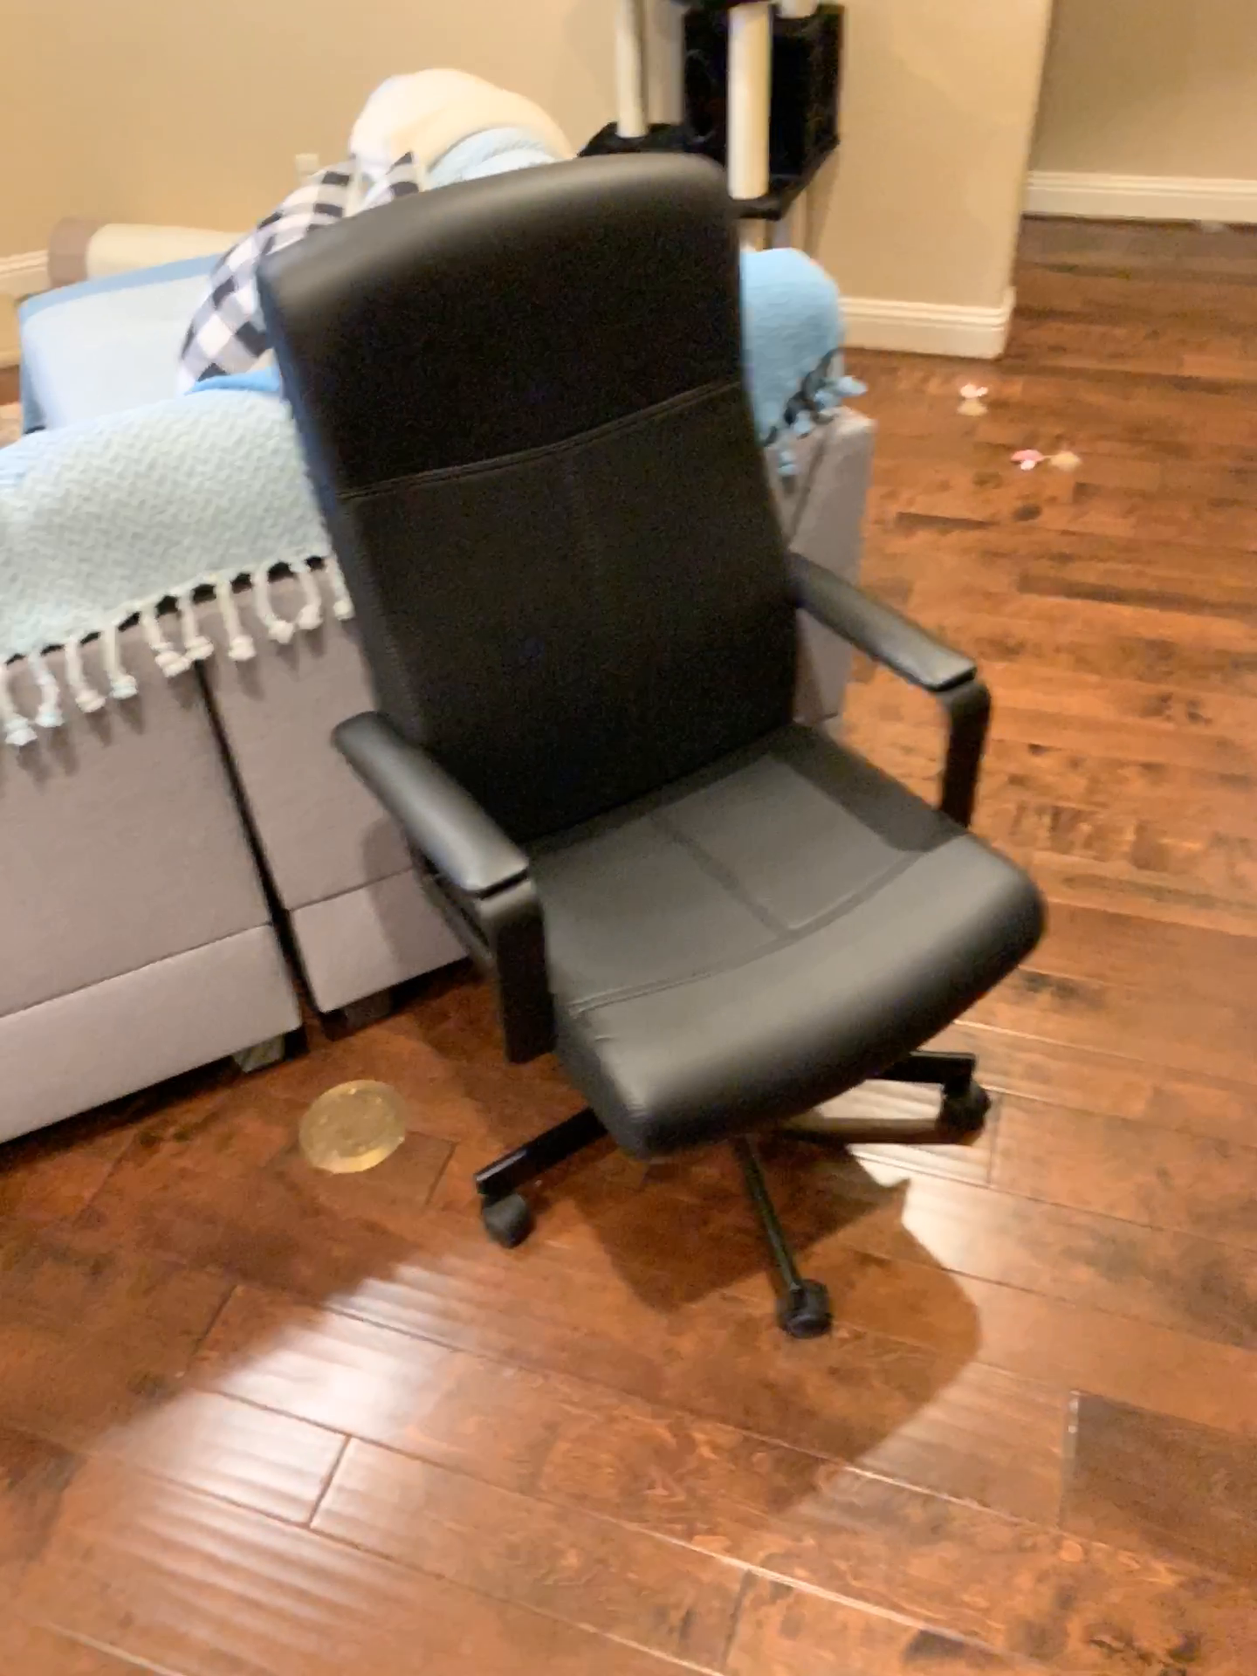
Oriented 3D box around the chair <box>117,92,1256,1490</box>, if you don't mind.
[{"bbox_3d":[0.083,-0.062,1.351,0.735,1.037,0.762,-23,46,-20],"label":"chair"}]
